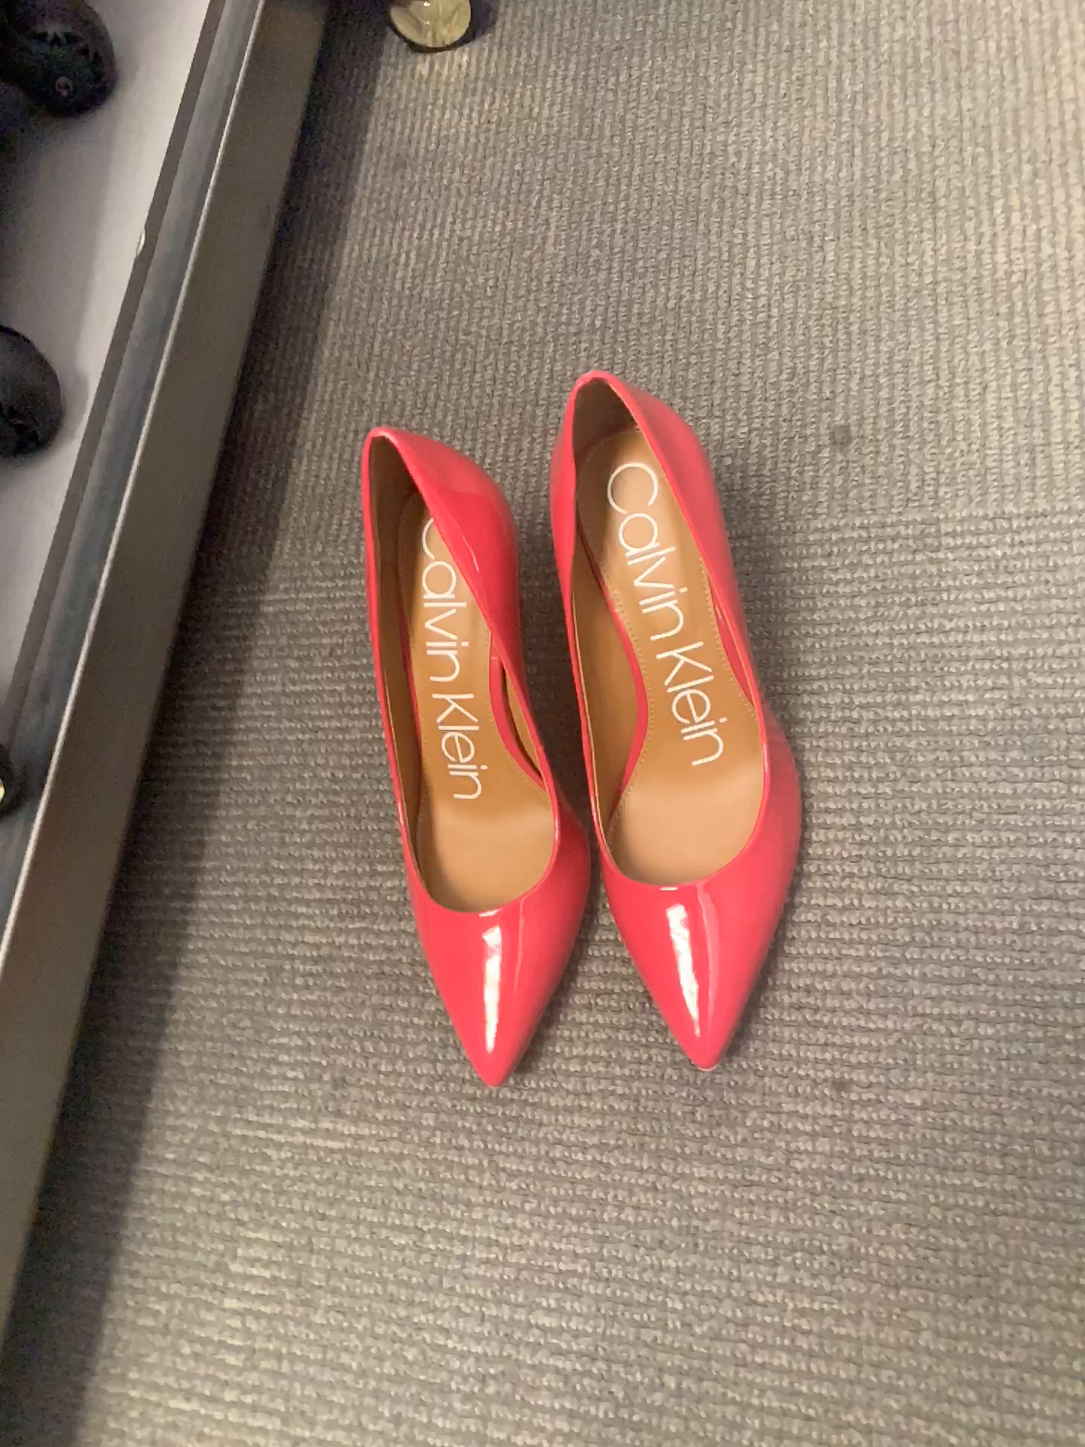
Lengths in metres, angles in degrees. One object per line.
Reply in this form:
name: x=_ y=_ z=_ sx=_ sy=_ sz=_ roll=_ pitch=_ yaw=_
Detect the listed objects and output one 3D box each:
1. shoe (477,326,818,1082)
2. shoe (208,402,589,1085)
shoe: x=0.036 y=0.002 z=0.370 sx=0.073 sy=0.121 sz=0.216 roll=-9 pitch=68 yaw=17
shoe: x=-0.042 y=0.017 z=0.400 sx=0.074 sy=0.130 sz=0.208 roll=-9 pitch=68 yaw=17
